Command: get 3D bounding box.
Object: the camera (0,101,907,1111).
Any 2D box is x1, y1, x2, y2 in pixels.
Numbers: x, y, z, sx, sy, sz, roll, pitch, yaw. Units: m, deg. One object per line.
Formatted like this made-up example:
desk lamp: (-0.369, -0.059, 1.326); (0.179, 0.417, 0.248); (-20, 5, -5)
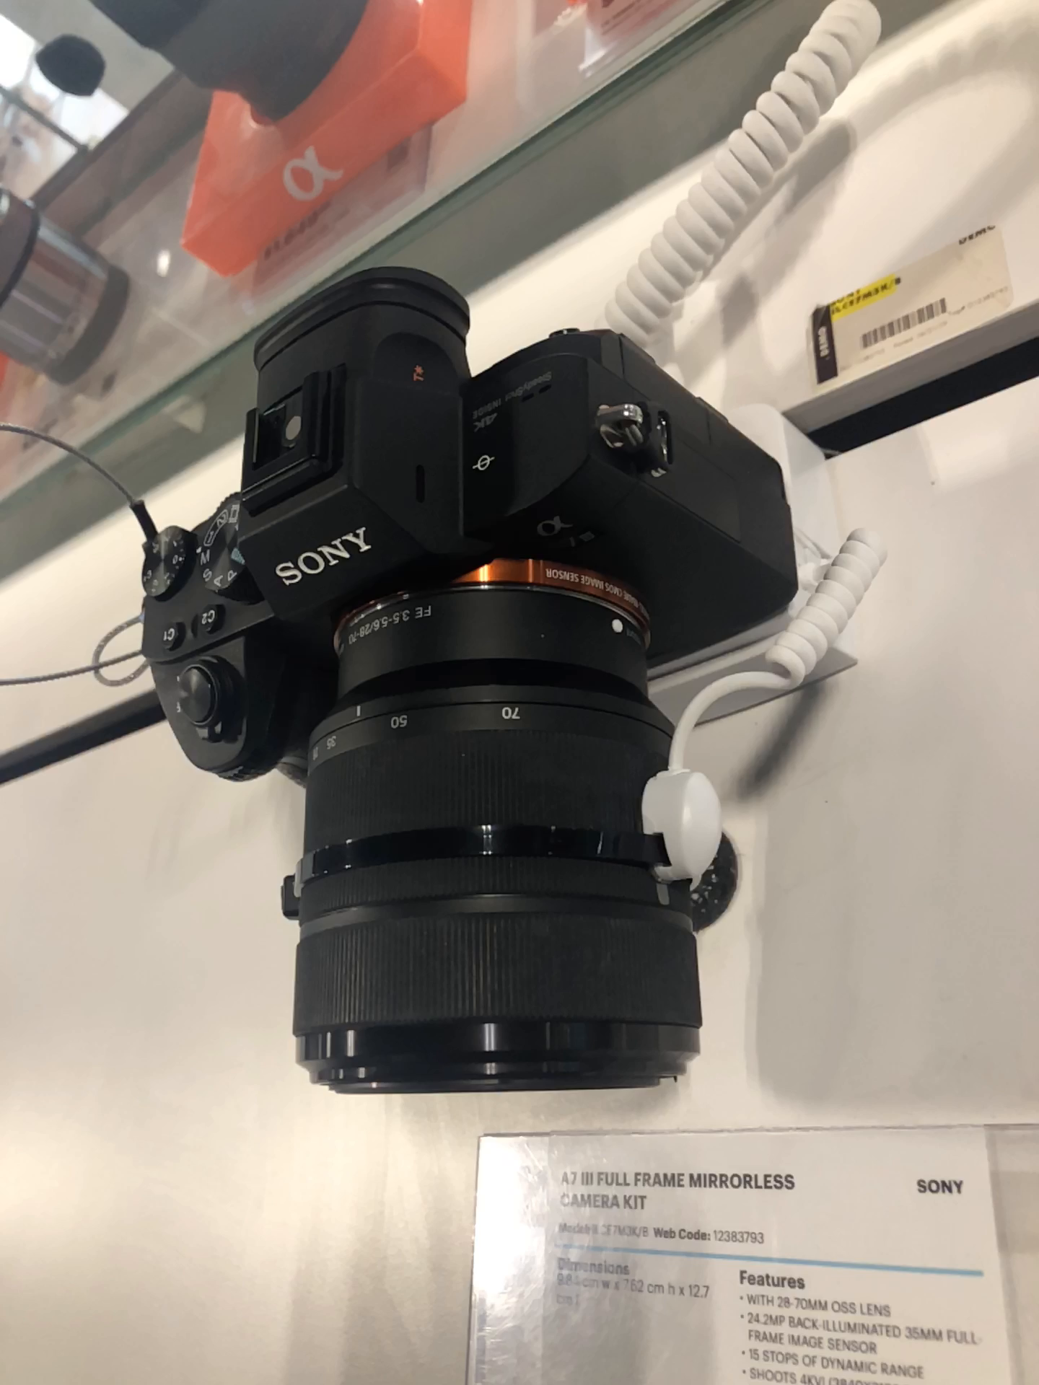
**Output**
camera: (-0.015, 0.003, 0.215); (0.120, 0.099, 0.130); (-19, 59, 37)
